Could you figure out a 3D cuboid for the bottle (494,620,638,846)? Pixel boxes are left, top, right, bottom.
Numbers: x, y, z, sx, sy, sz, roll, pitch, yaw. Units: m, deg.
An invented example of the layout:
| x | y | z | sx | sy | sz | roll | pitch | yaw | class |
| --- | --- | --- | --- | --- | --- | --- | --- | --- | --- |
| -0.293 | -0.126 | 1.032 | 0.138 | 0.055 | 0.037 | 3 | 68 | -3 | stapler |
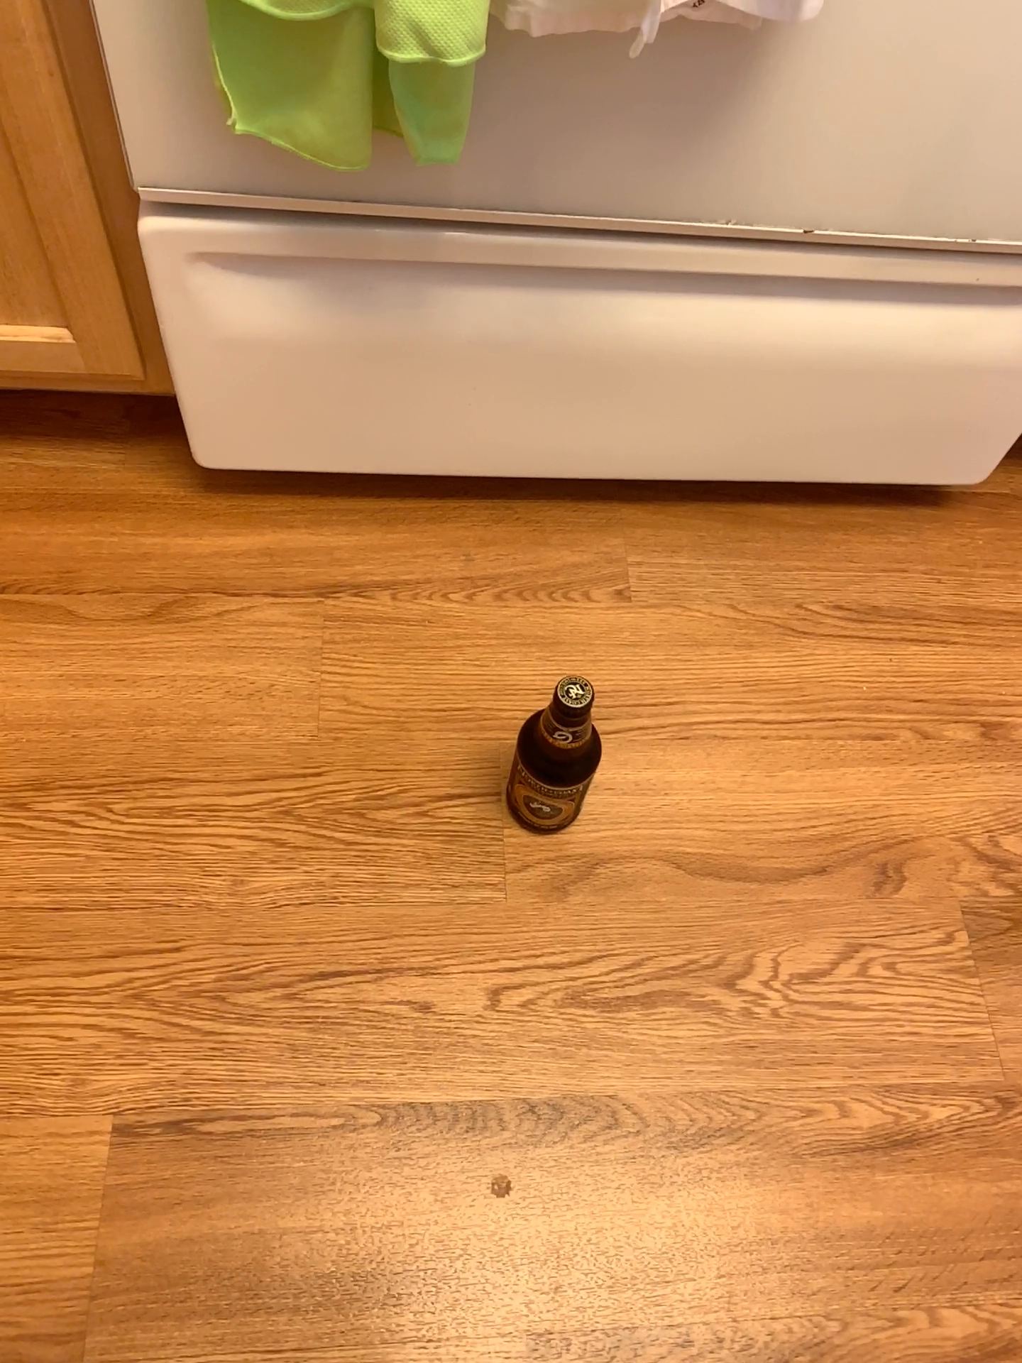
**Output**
| x | y | z | sx | sy | sz | roll | pitch | yaw | class |
| --- | --- | --- | --- | --- | --- | --- | --- | --- | --- |
| 0.034 | 0.045 | 0.750 | 0.060 | 0.209 | 0.060 | 3 | 61 | -5 | bottle |
